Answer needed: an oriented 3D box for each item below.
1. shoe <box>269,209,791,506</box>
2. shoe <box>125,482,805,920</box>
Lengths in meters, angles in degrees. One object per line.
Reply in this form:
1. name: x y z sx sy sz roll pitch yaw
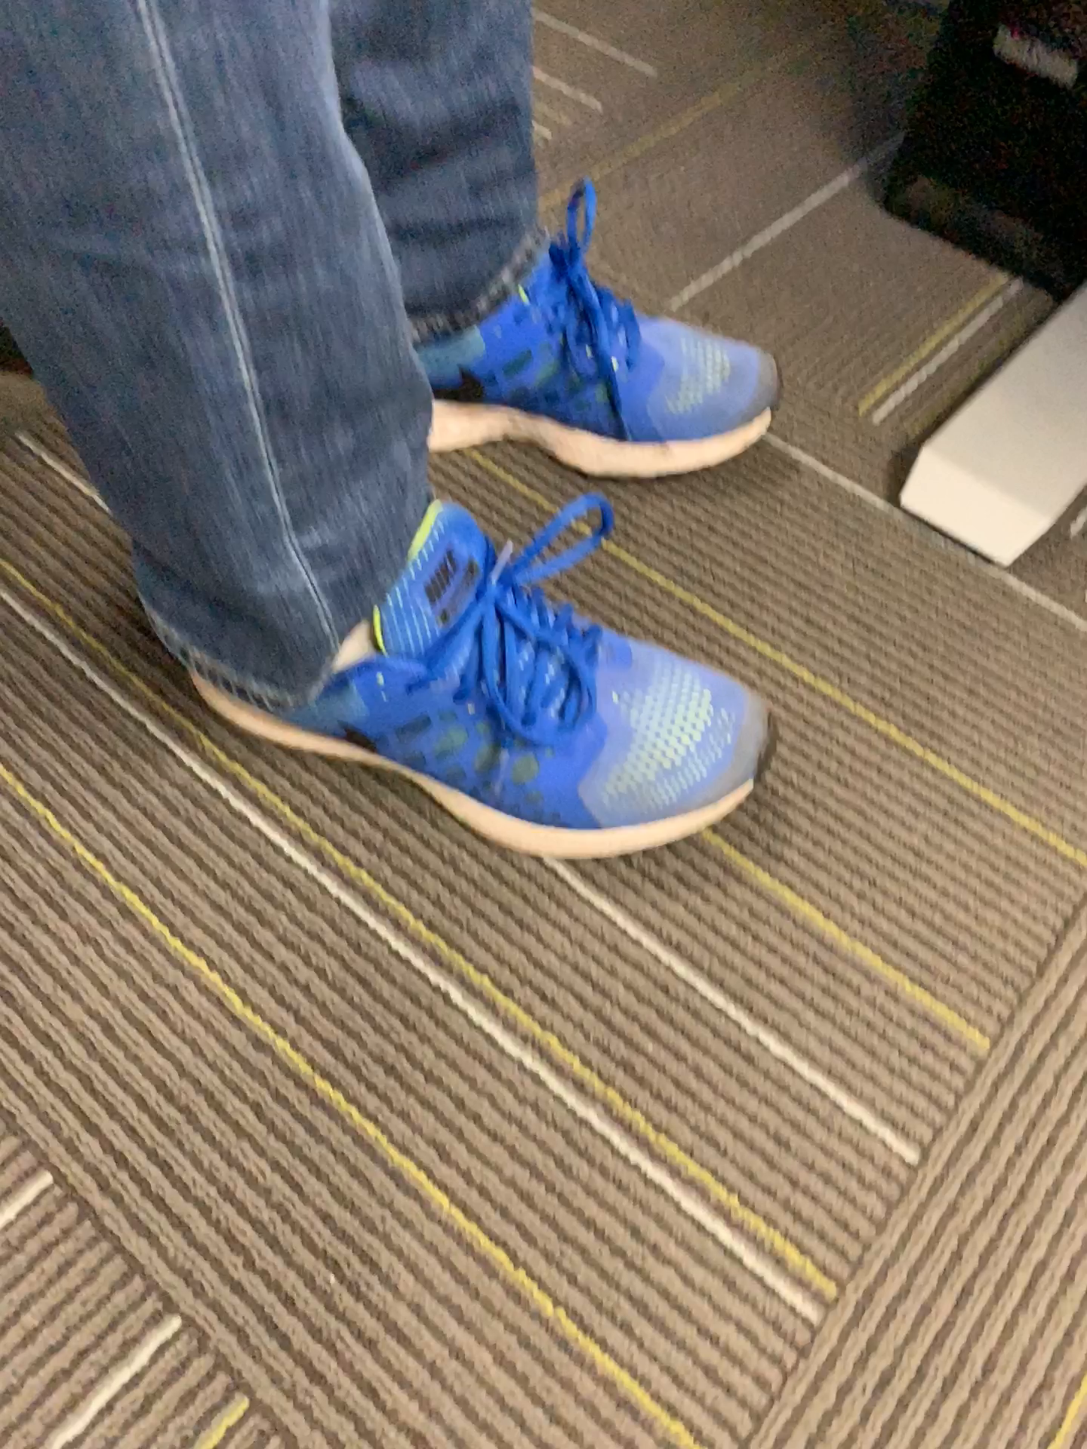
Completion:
1. shoe: -0.004 -0.217 0.657 0.278 0.083 0.117 7 56 0
2. shoe: -0.031 -0.013 0.527 0.278 0.083 0.118 14 56 5
